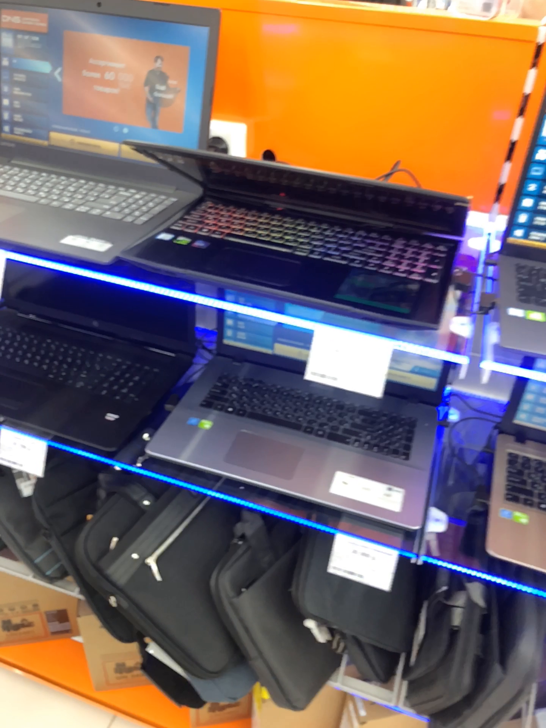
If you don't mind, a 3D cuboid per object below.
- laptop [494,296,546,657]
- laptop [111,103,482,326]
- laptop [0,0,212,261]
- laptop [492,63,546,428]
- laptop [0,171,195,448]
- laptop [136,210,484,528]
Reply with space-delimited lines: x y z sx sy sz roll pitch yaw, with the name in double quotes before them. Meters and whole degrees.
"laptop" 0.486 0.113 0.726 0.359 0.240 0.231 13 36 15
"laptop" 0.040 -0.196 0.720 0.364 0.121 0.244 14 36 14
"laptop" -0.302 -0.345 0.804 0.359 0.228 0.319 14 35 13
"laptop" 0.437 -0.139 0.589 0.352 0.216 0.232 11 35 11
"laptop" -0.374 -0.106 0.965 0.406 0.270 0.274 14 35 14
"laptop" 0.060 -0.016 0.879 0.394 0.256 0.288 14 37 14
